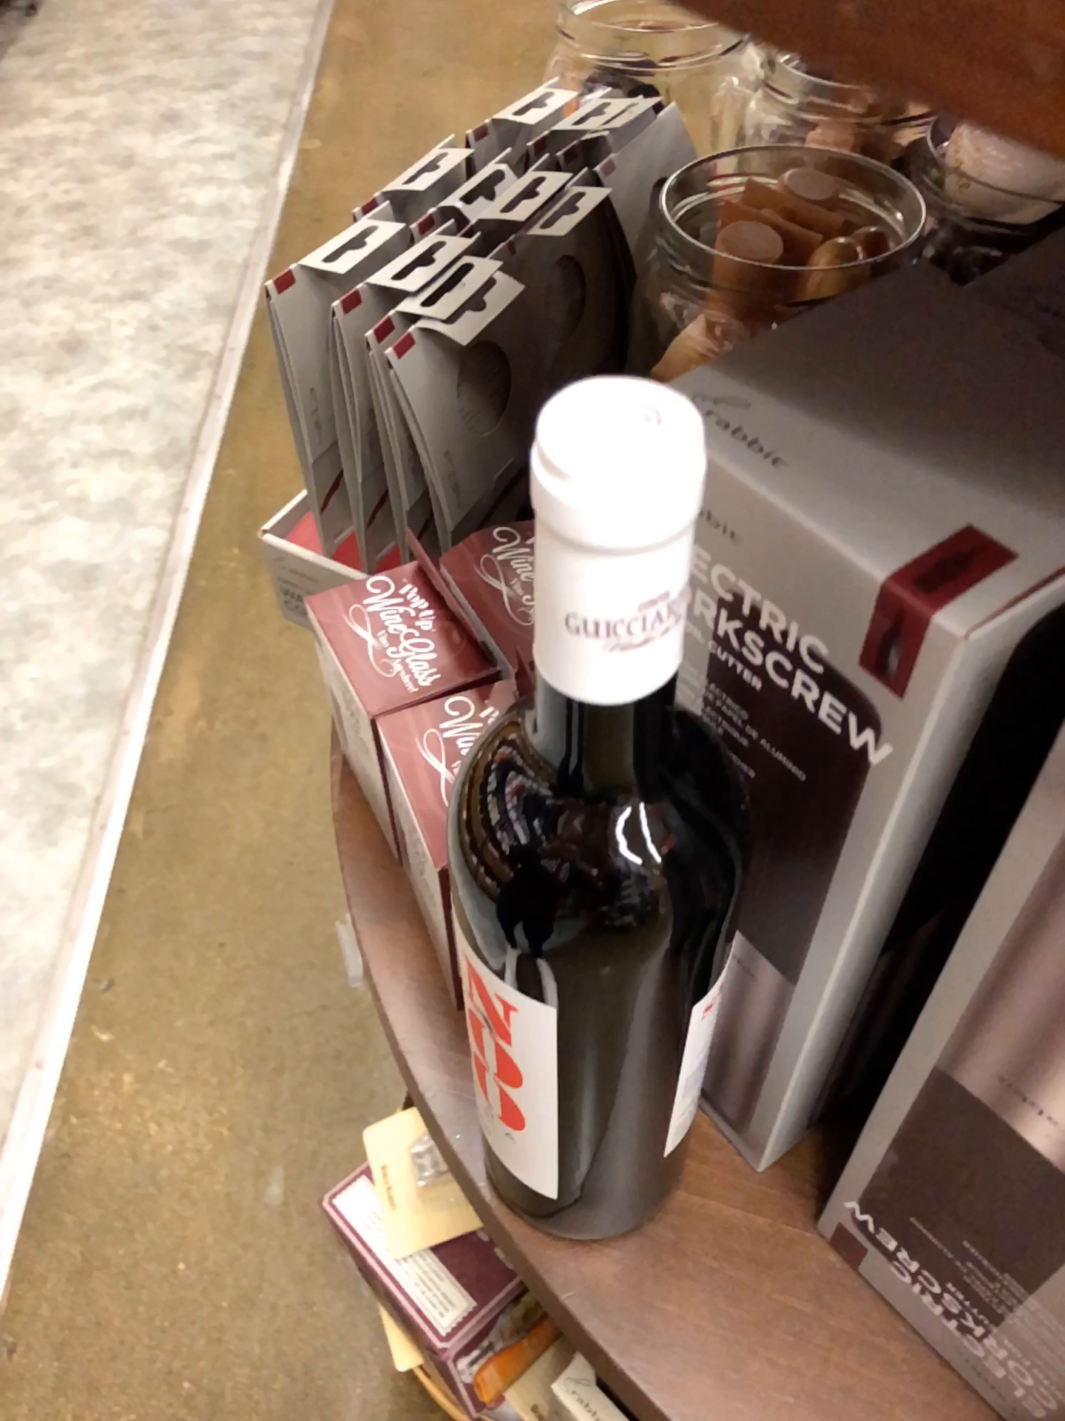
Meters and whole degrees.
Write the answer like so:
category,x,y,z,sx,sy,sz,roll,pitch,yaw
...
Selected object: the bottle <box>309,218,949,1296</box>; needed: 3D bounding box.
category,x,y,z,sx,sy,sz,roll,pitch,yaw
bottle,0.015,0.050,0.301,0.080,0.309,0.083,-1,48,2
